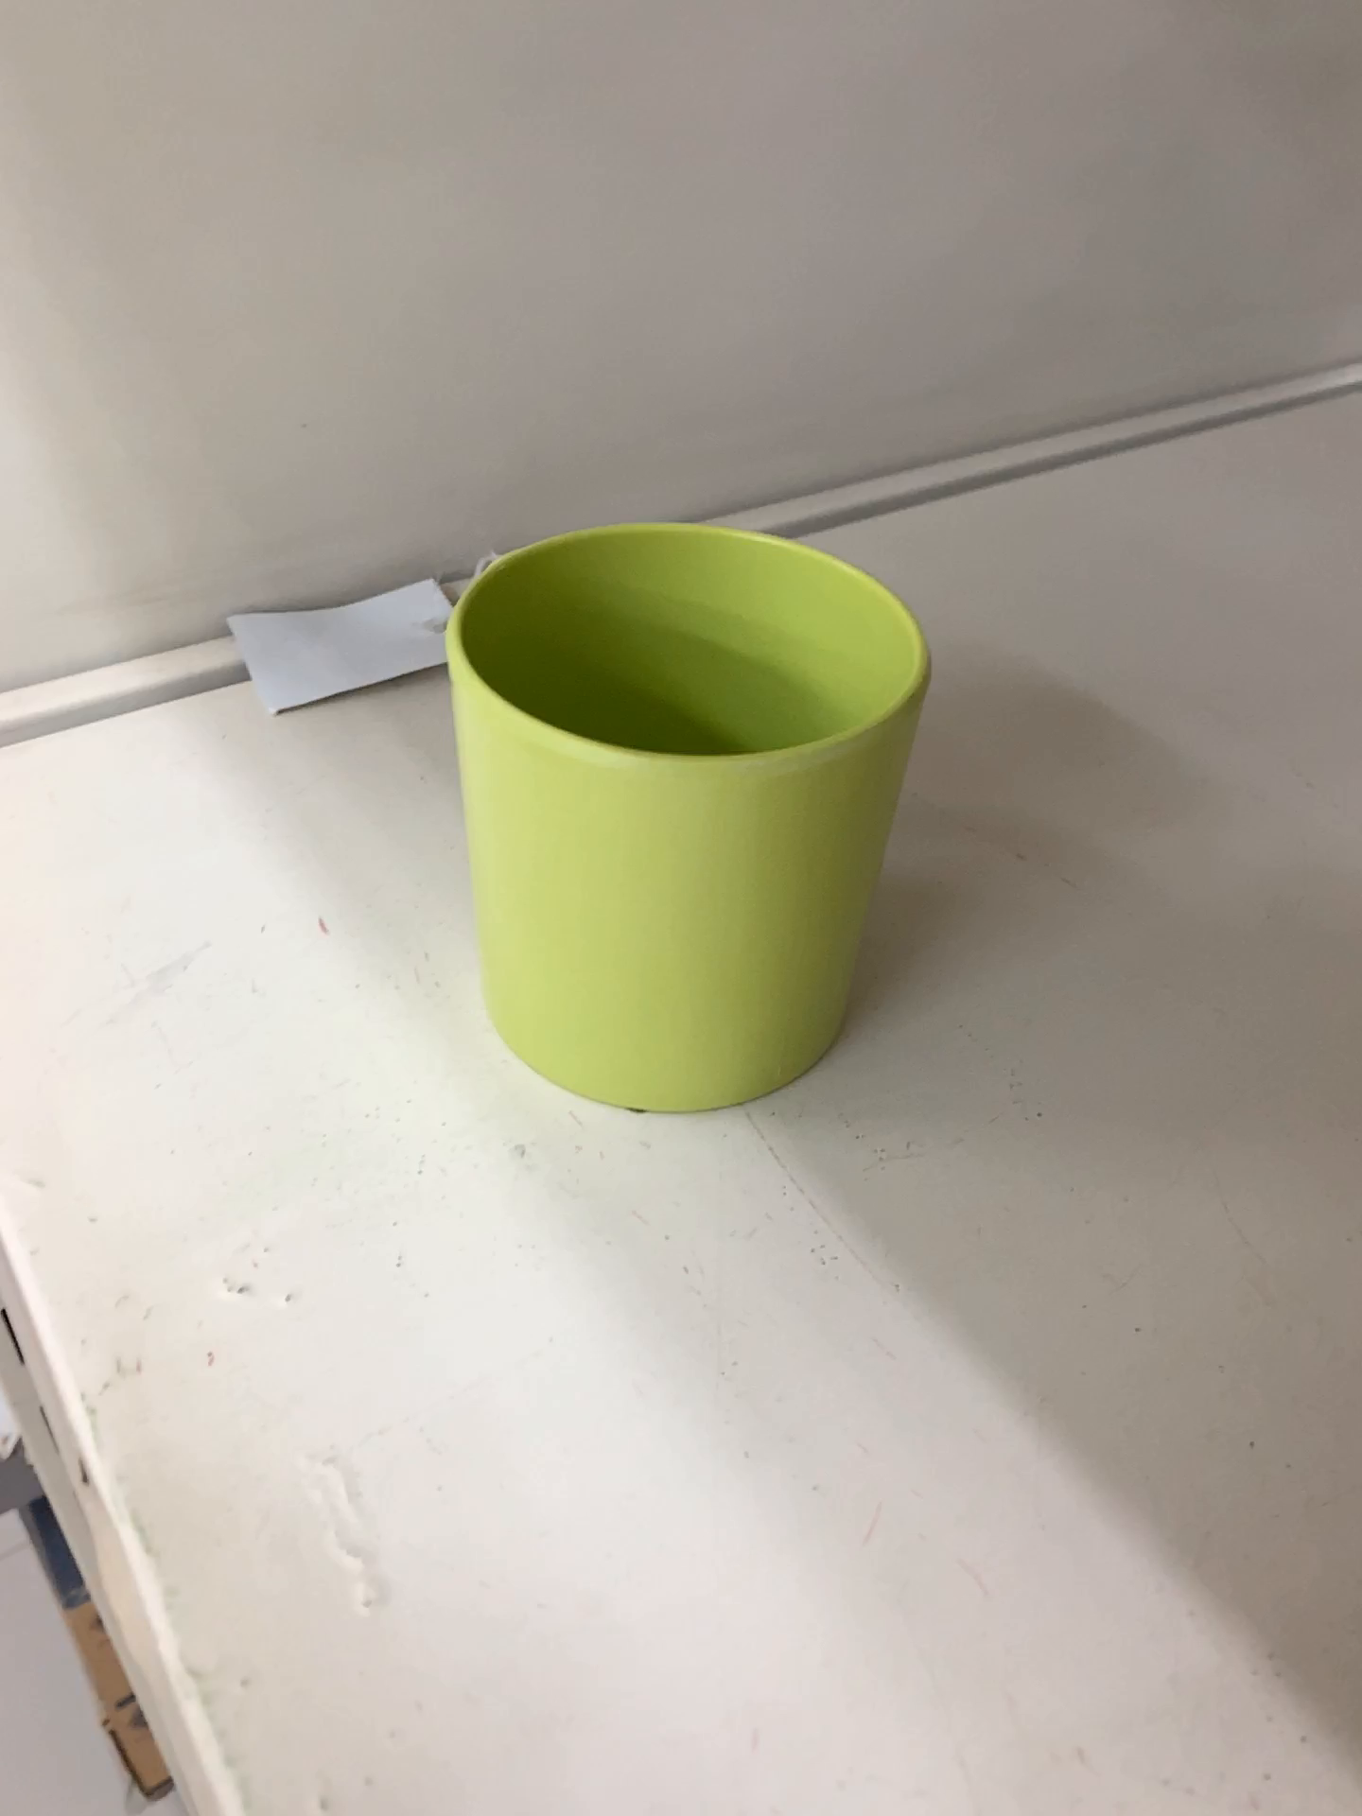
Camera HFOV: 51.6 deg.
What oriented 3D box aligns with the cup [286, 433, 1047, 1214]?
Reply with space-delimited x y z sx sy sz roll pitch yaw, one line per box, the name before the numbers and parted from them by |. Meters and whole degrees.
cup | -0.008 -0.021 0.231 0.070 0.069 0.101 -20 45 -27
